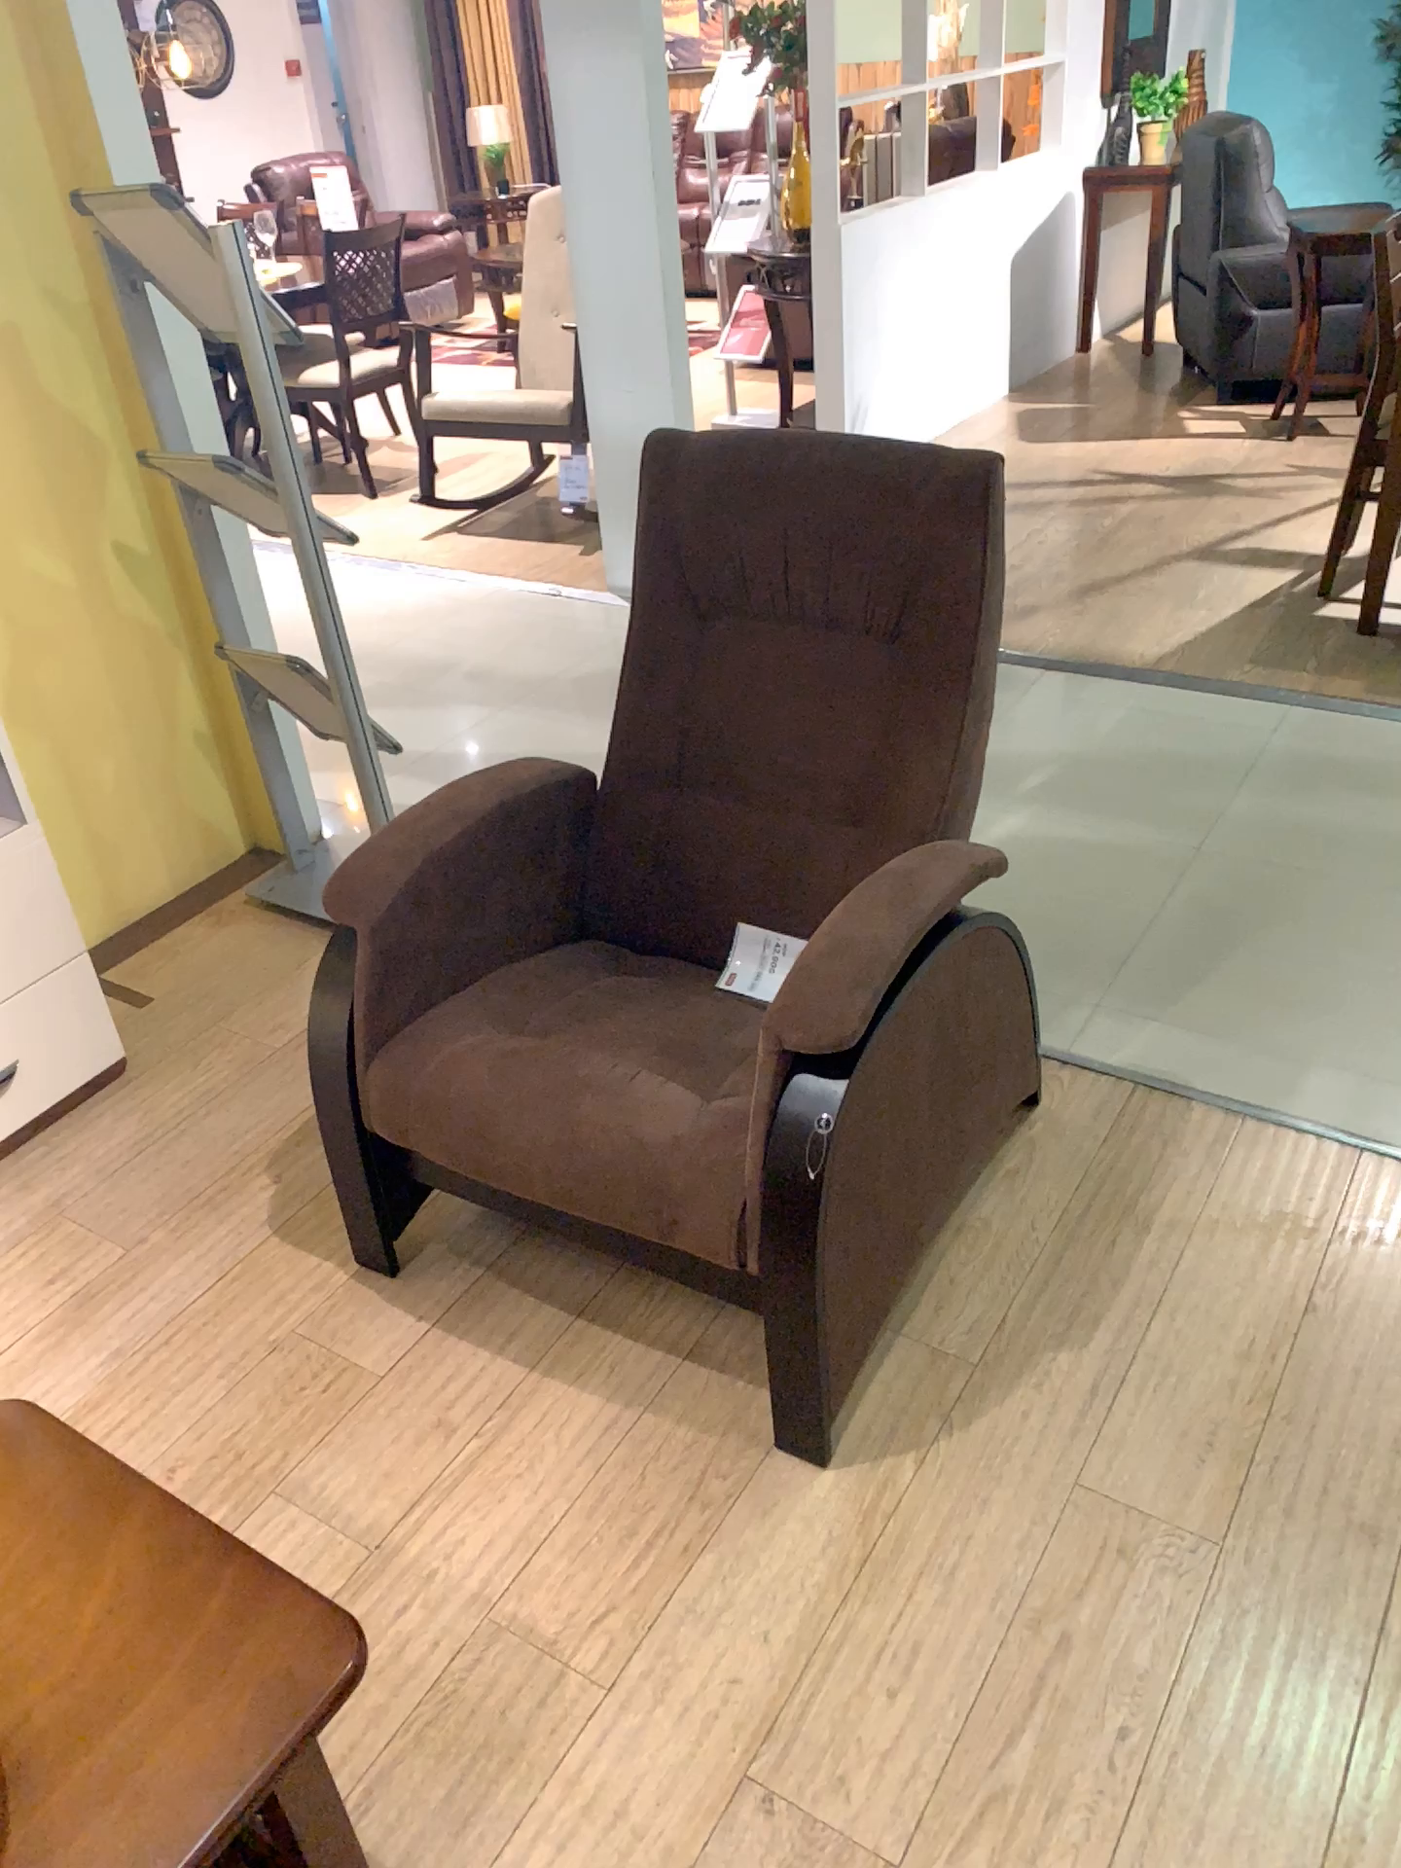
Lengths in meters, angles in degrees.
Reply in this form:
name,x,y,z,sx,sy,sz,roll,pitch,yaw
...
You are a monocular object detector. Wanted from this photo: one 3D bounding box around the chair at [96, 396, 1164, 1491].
name,x,y,z,sx,sy,sz,roll,pitch,yaw
chair,0.018,-0.105,1.848,0.802,0.886,1.002,14,37,28
